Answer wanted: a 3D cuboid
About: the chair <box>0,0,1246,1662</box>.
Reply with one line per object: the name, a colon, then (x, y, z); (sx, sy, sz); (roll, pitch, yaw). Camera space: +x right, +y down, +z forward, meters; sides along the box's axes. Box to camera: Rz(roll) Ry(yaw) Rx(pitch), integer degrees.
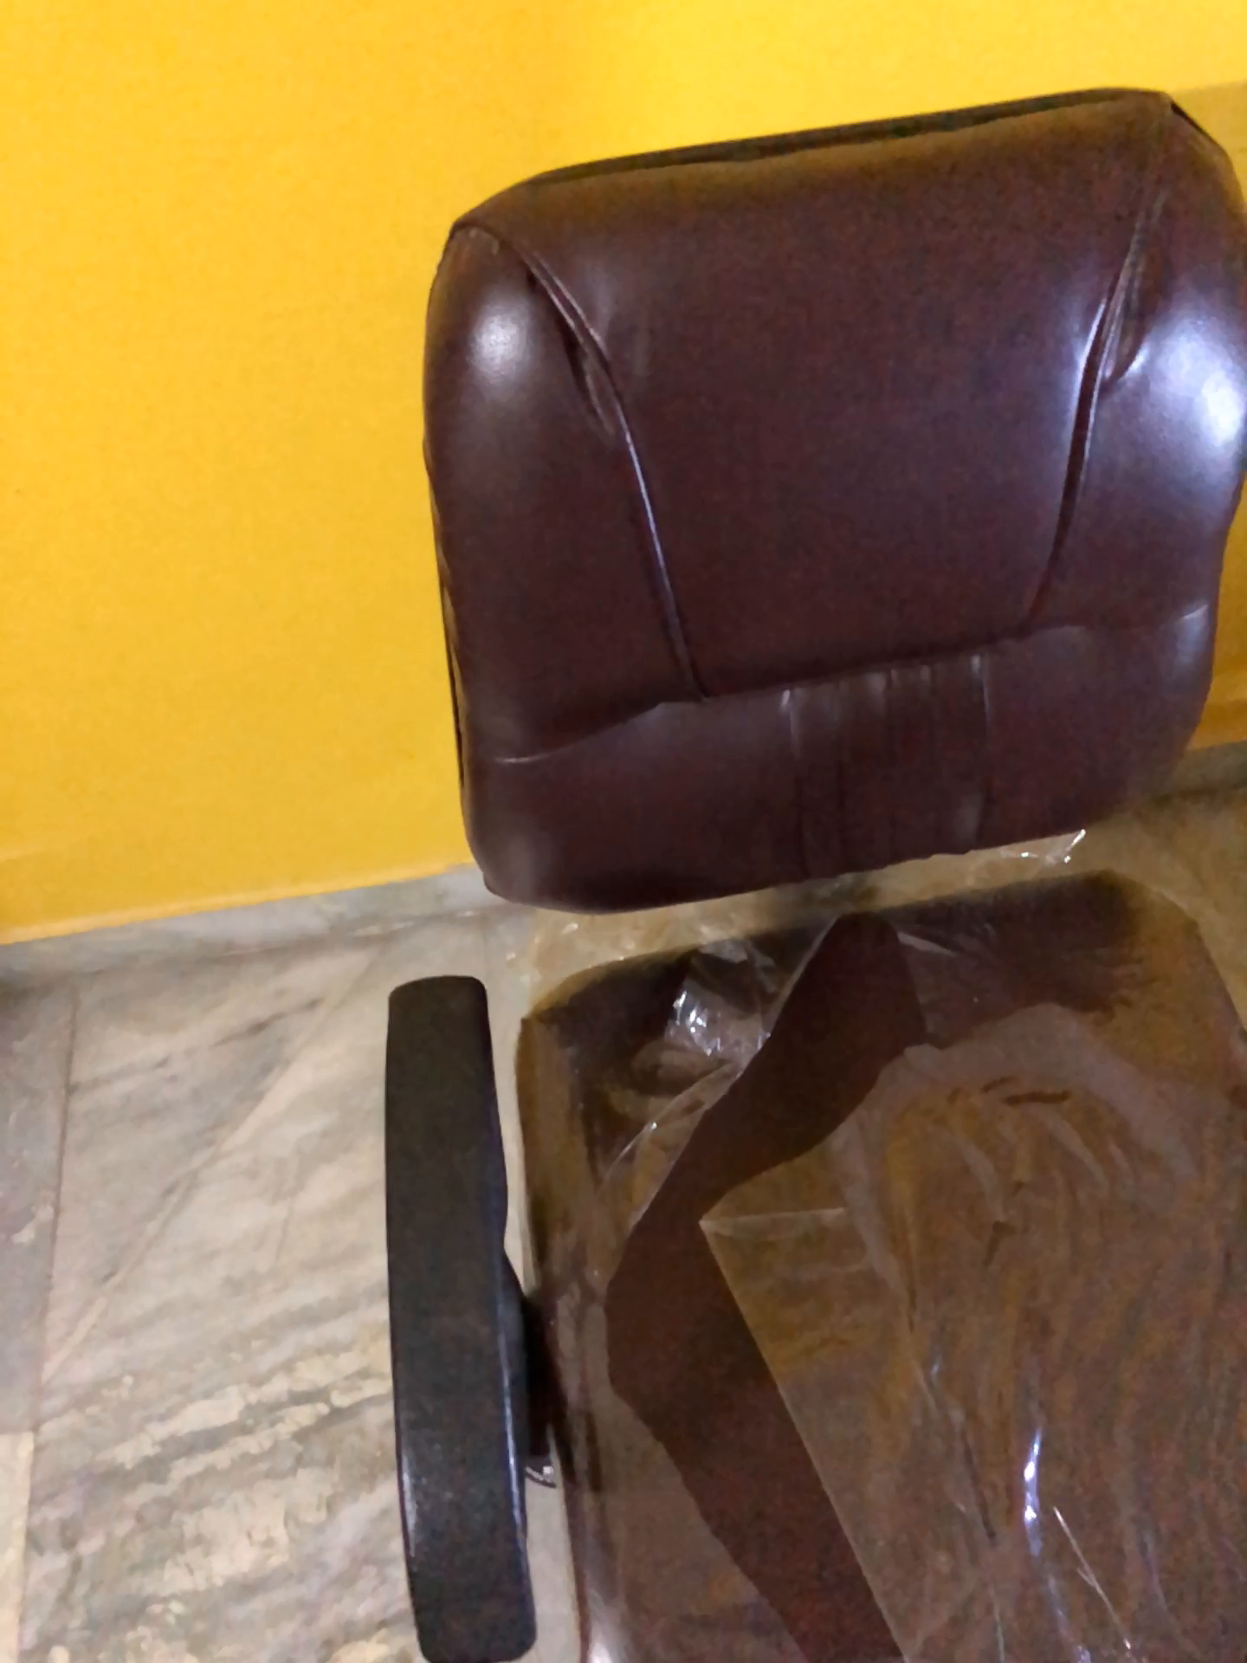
chair: (0.155, 0.187, 0.789); (0.690, 0.976, 0.683); (-13, 59, -1)
